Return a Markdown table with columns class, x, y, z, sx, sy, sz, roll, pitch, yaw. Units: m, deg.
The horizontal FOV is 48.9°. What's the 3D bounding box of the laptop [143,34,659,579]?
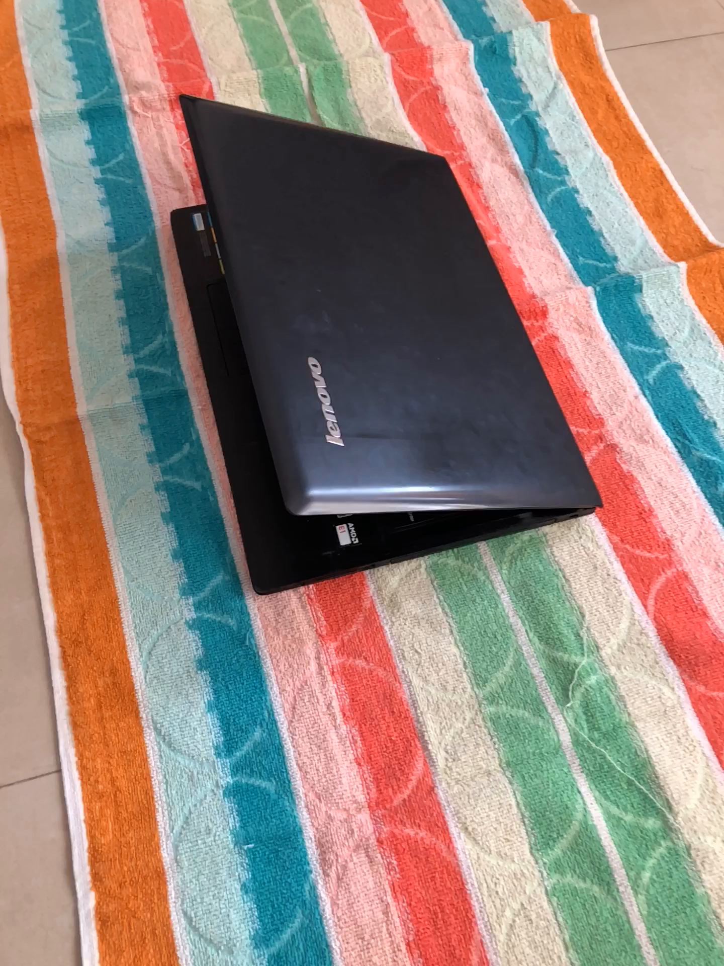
| class | x | y | z | sx | sy | sz | roll | pitch | yaw |
| --- | --- | --- | --- | --- | --- | --- | --- | --- | --- |
| laptop | 0.008 | -0.147 | 0.590 | 0.253 | 0.125 | 0.364 | -12 | 64 | -11 |
